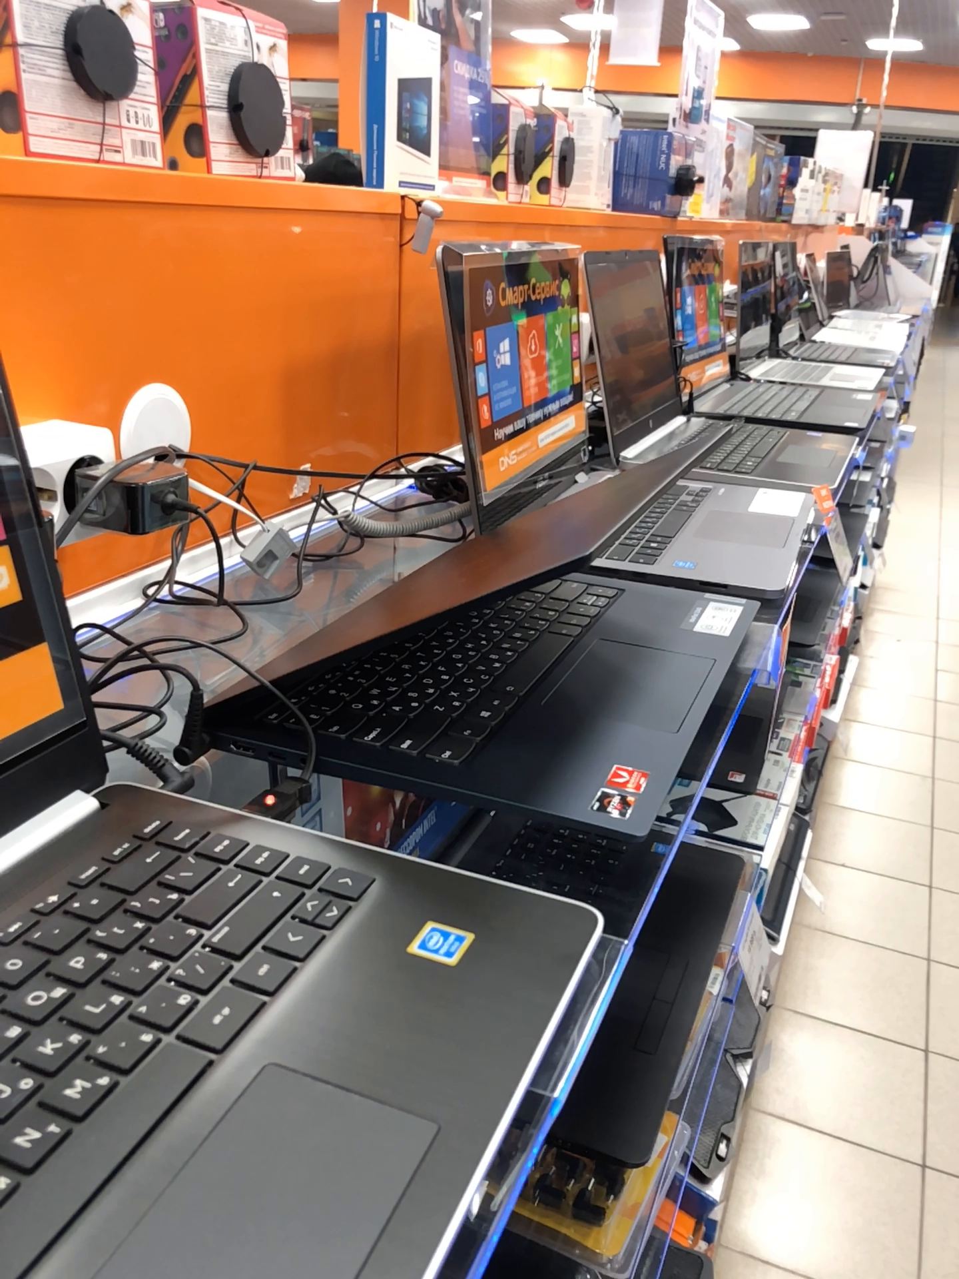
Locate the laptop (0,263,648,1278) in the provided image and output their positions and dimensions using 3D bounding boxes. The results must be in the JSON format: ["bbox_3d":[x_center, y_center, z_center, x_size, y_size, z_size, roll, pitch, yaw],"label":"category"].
[{"bbox_3d":[-0.127,0.029,0.239,0.250,0.200,0.303,11,22,20],"label":"laptop"}]

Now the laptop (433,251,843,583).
[{"bbox_3d":[0.146,-0.204,0.870,0.257,0.203,0.332,9,22,16],"label":"laptop"}]

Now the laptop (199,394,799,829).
[{"bbox_3d":[0.034,-0.045,0.560,0.203,0.108,0.303,11,24,21],"label":"laptop"}]

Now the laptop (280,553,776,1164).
[{"bbox_3d":[0.054,0.120,0.797,0.257,0.227,0.356,13,24,19],"label":"laptop"}]
